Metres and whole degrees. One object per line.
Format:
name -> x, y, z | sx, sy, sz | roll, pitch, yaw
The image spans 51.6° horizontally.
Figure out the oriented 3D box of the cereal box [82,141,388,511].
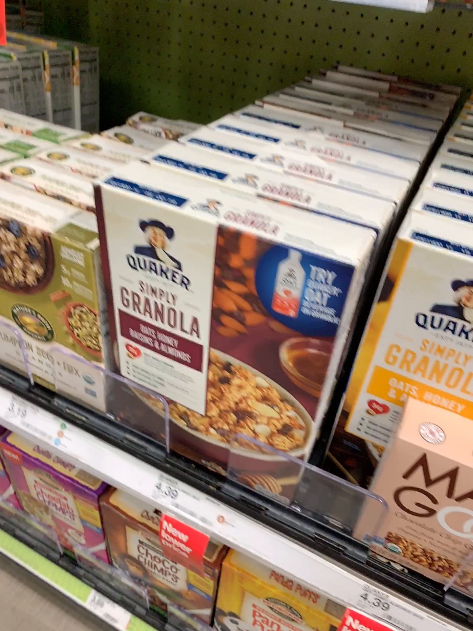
cereal box -> -0.013, 0.019, 0.377 | 0.180, 0.249, 0.060 | 21, 41, 17
